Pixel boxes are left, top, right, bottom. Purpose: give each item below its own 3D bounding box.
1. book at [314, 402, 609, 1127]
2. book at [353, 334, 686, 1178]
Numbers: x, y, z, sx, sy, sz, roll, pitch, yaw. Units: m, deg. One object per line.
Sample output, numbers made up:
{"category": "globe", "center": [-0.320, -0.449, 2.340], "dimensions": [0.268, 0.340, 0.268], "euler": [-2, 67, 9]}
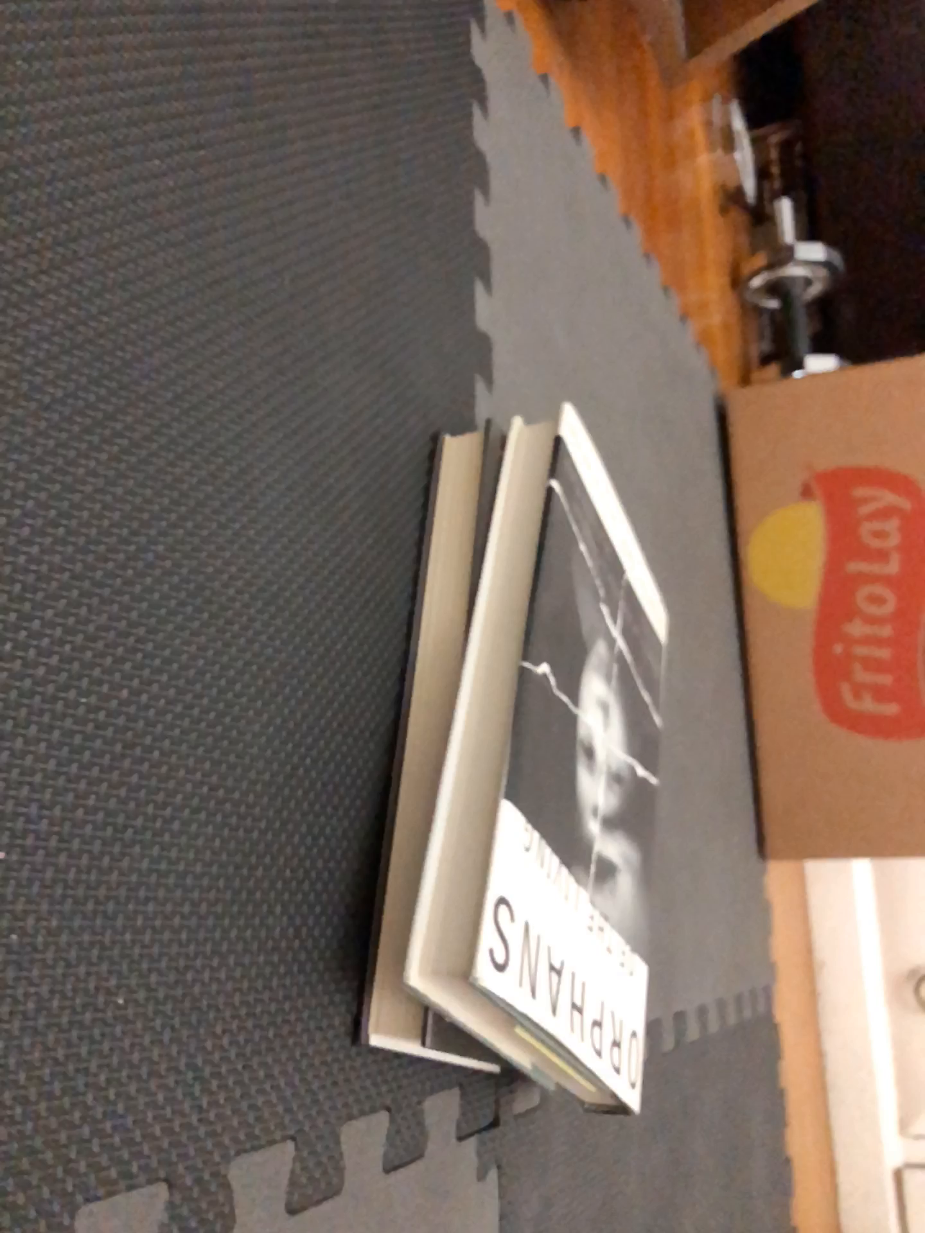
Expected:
{"category": "book", "center": [0.015, 0.064, 0.419], "dimensions": [0.161, 0.030, 0.250], "euler": [43, 45, -52]}
{"category": "book", "center": [0.045, 0.050, 0.416], "dimensions": [0.180, 0.030, 0.281], "euler": [53, 38, -44]}
